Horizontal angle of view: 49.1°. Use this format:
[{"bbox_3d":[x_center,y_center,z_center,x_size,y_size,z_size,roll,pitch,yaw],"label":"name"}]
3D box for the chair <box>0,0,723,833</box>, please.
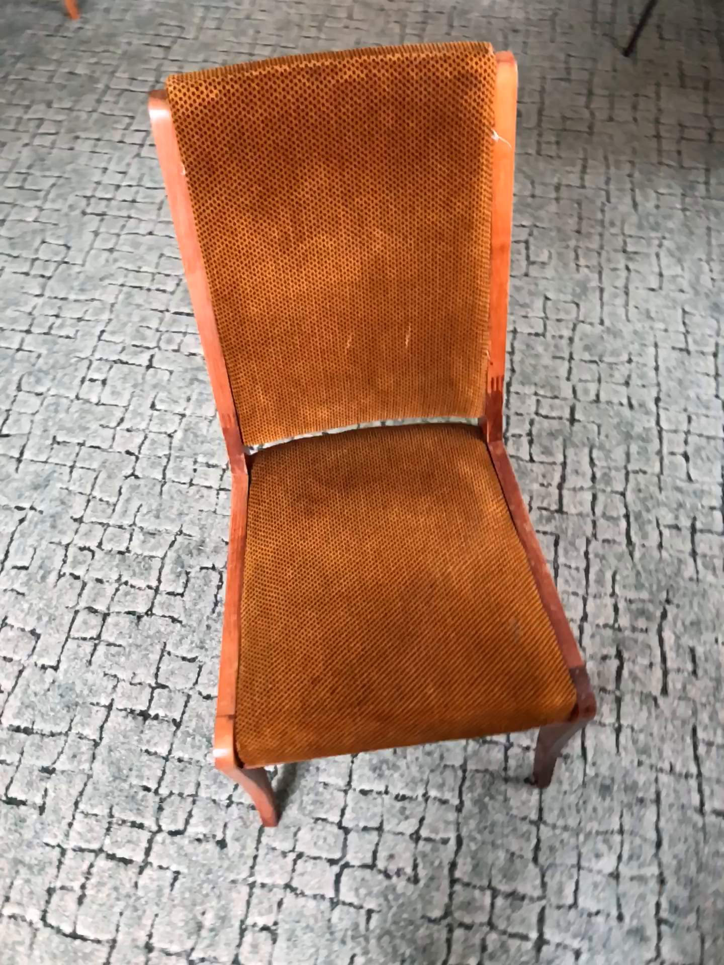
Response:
[{"bbox_3d":[0.019,0.049,0.965,0.470,0.925,0.531,-8,59,-2],"label":"chair"}]
